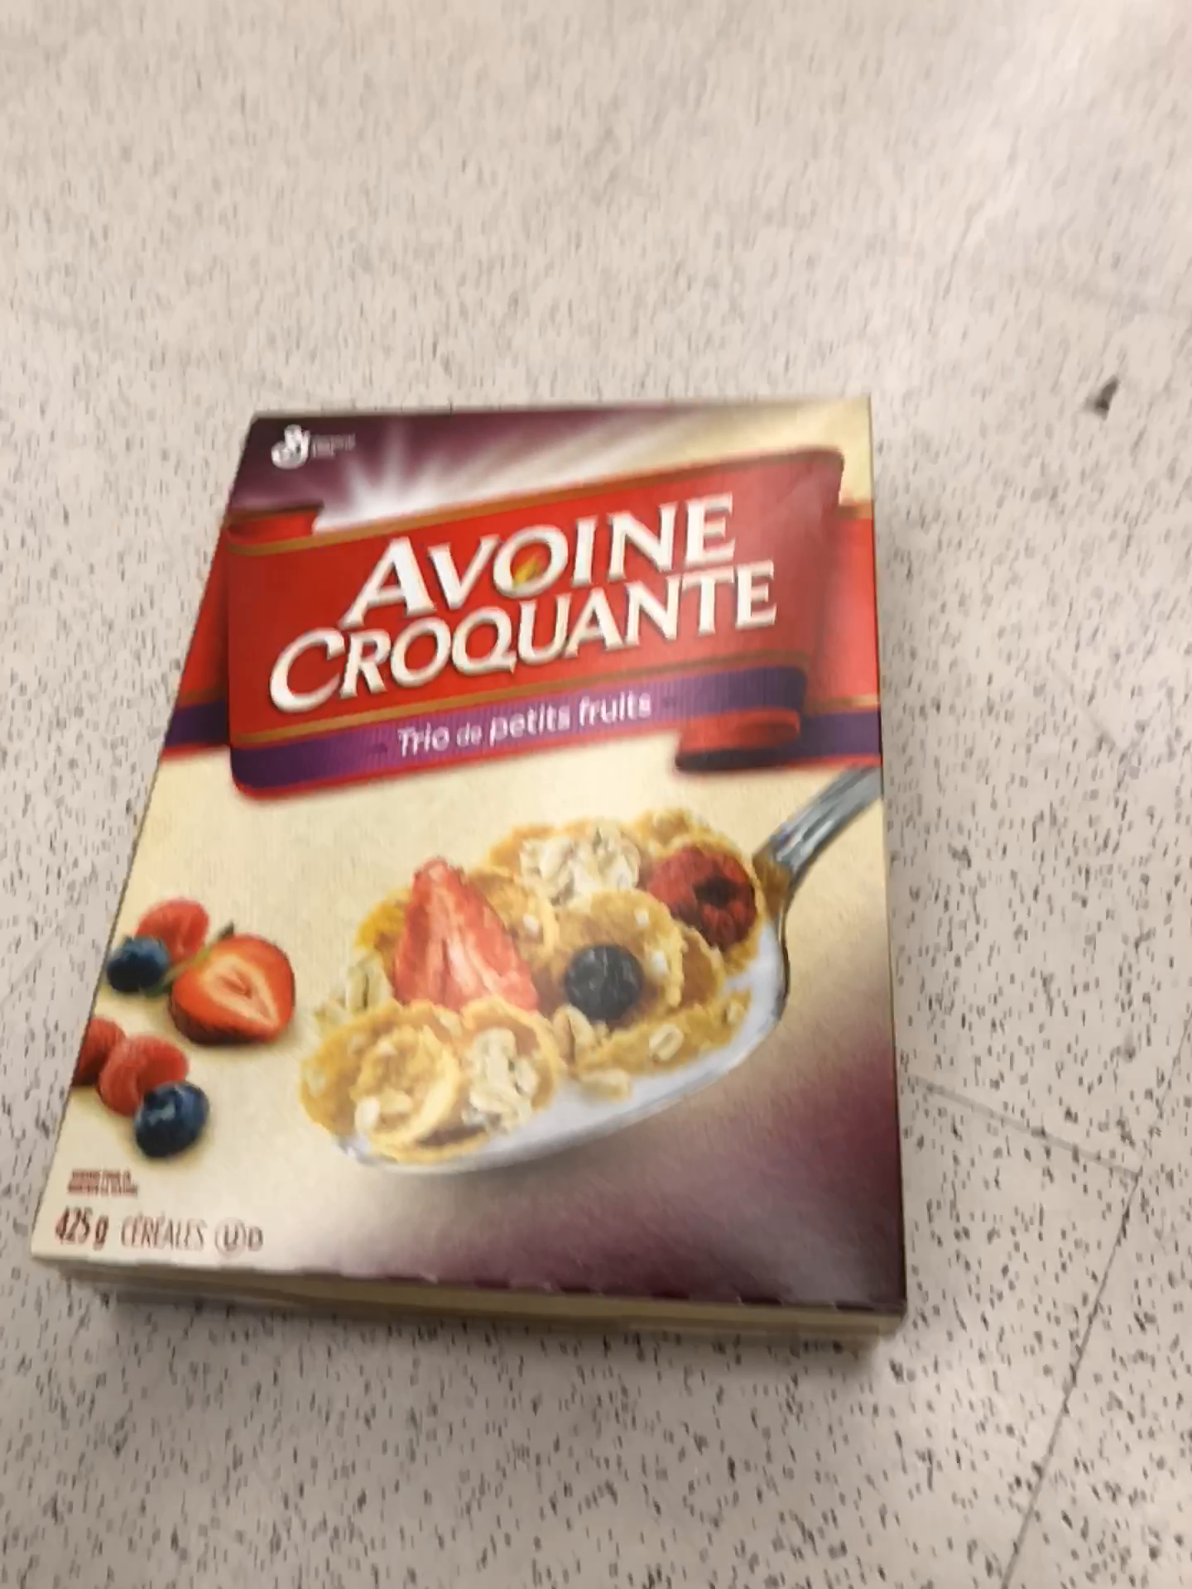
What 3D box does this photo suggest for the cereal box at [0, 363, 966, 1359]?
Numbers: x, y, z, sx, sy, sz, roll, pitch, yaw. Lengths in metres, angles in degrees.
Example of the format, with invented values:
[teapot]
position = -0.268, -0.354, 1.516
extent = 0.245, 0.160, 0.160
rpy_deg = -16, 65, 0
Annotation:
[cereal box]
position = -0.017, 0.002, 0.371
extent = 0.210, 0.060, 0.270
rpy_deg = 1, 61, 7
